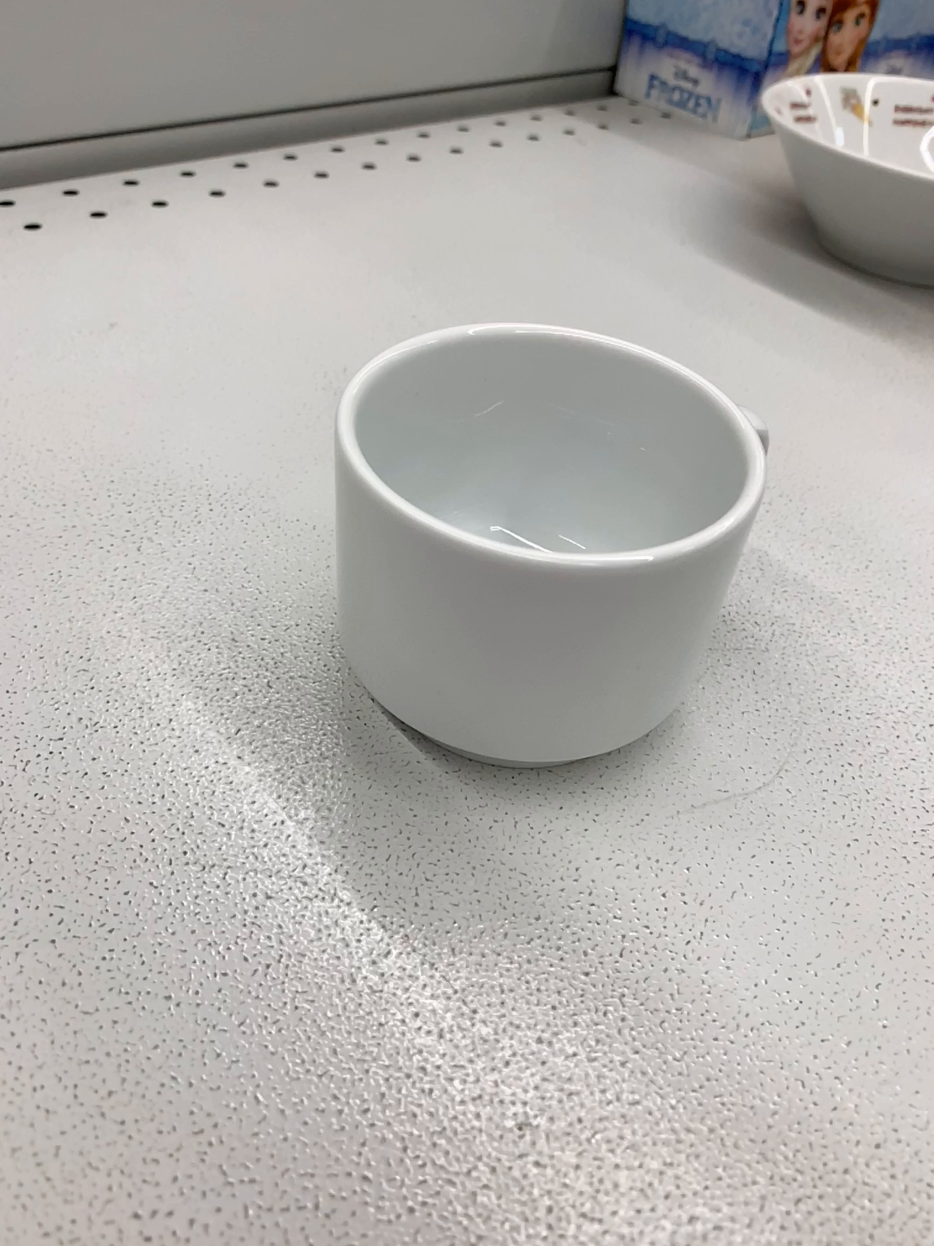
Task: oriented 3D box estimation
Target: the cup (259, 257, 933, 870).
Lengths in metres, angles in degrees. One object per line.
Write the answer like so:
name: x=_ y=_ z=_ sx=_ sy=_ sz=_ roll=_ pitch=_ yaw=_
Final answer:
cup: x=0.027 y=-0.021 z=0.197 sx=0.105 sy=0.056 sz=0.082 roll=-24 pitch=51 yaw=-29
